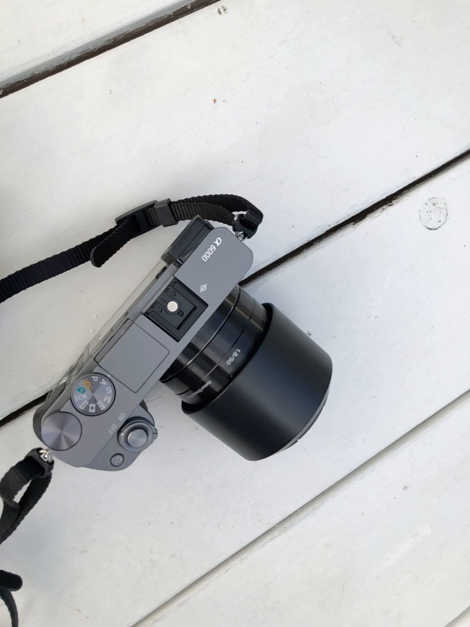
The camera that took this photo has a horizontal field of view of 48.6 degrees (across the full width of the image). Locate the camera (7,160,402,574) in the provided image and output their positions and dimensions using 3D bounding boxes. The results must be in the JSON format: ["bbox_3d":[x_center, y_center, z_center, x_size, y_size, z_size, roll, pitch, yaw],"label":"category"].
[{"bbox_3d":[-0.014,0.023,0.256,0.110,0.070,0.140,40,81,-15],"label":"camera"}]
